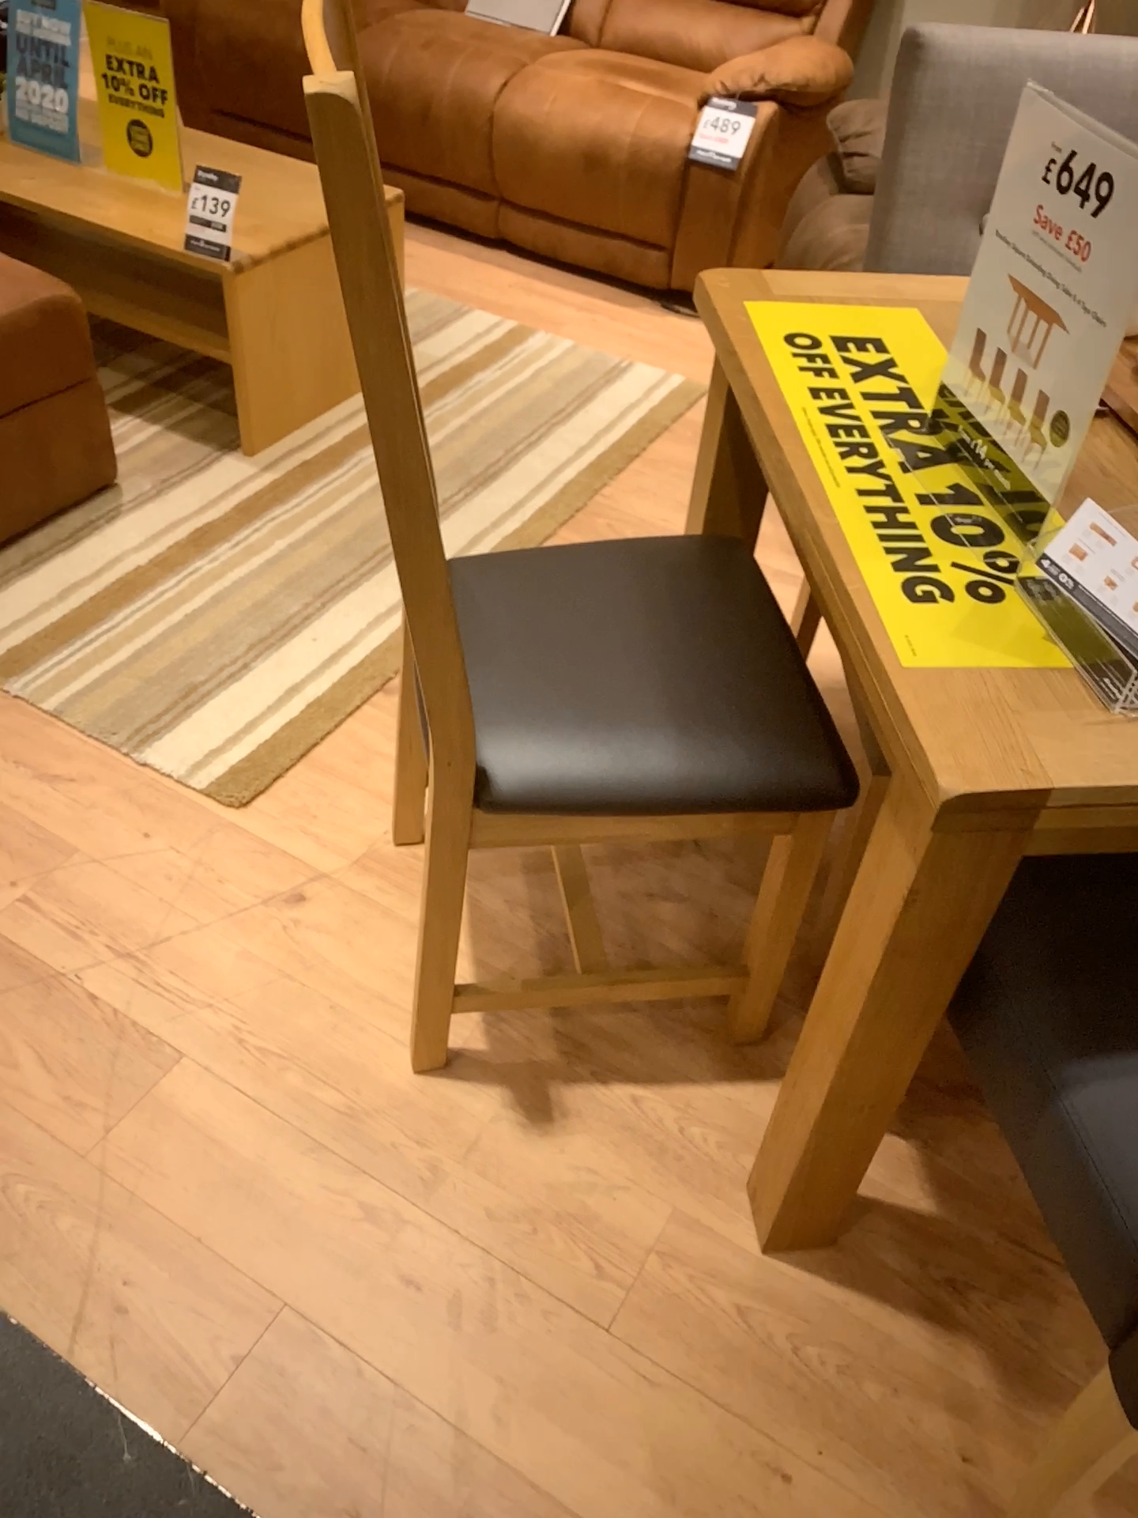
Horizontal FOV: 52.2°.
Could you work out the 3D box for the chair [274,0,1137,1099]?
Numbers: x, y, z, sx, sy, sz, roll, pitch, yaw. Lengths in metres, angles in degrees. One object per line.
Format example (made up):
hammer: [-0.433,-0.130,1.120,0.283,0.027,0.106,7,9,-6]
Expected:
chair: [0.034,-0.159,1.249,0.550,1.099,0.475,-2,43,-8]
